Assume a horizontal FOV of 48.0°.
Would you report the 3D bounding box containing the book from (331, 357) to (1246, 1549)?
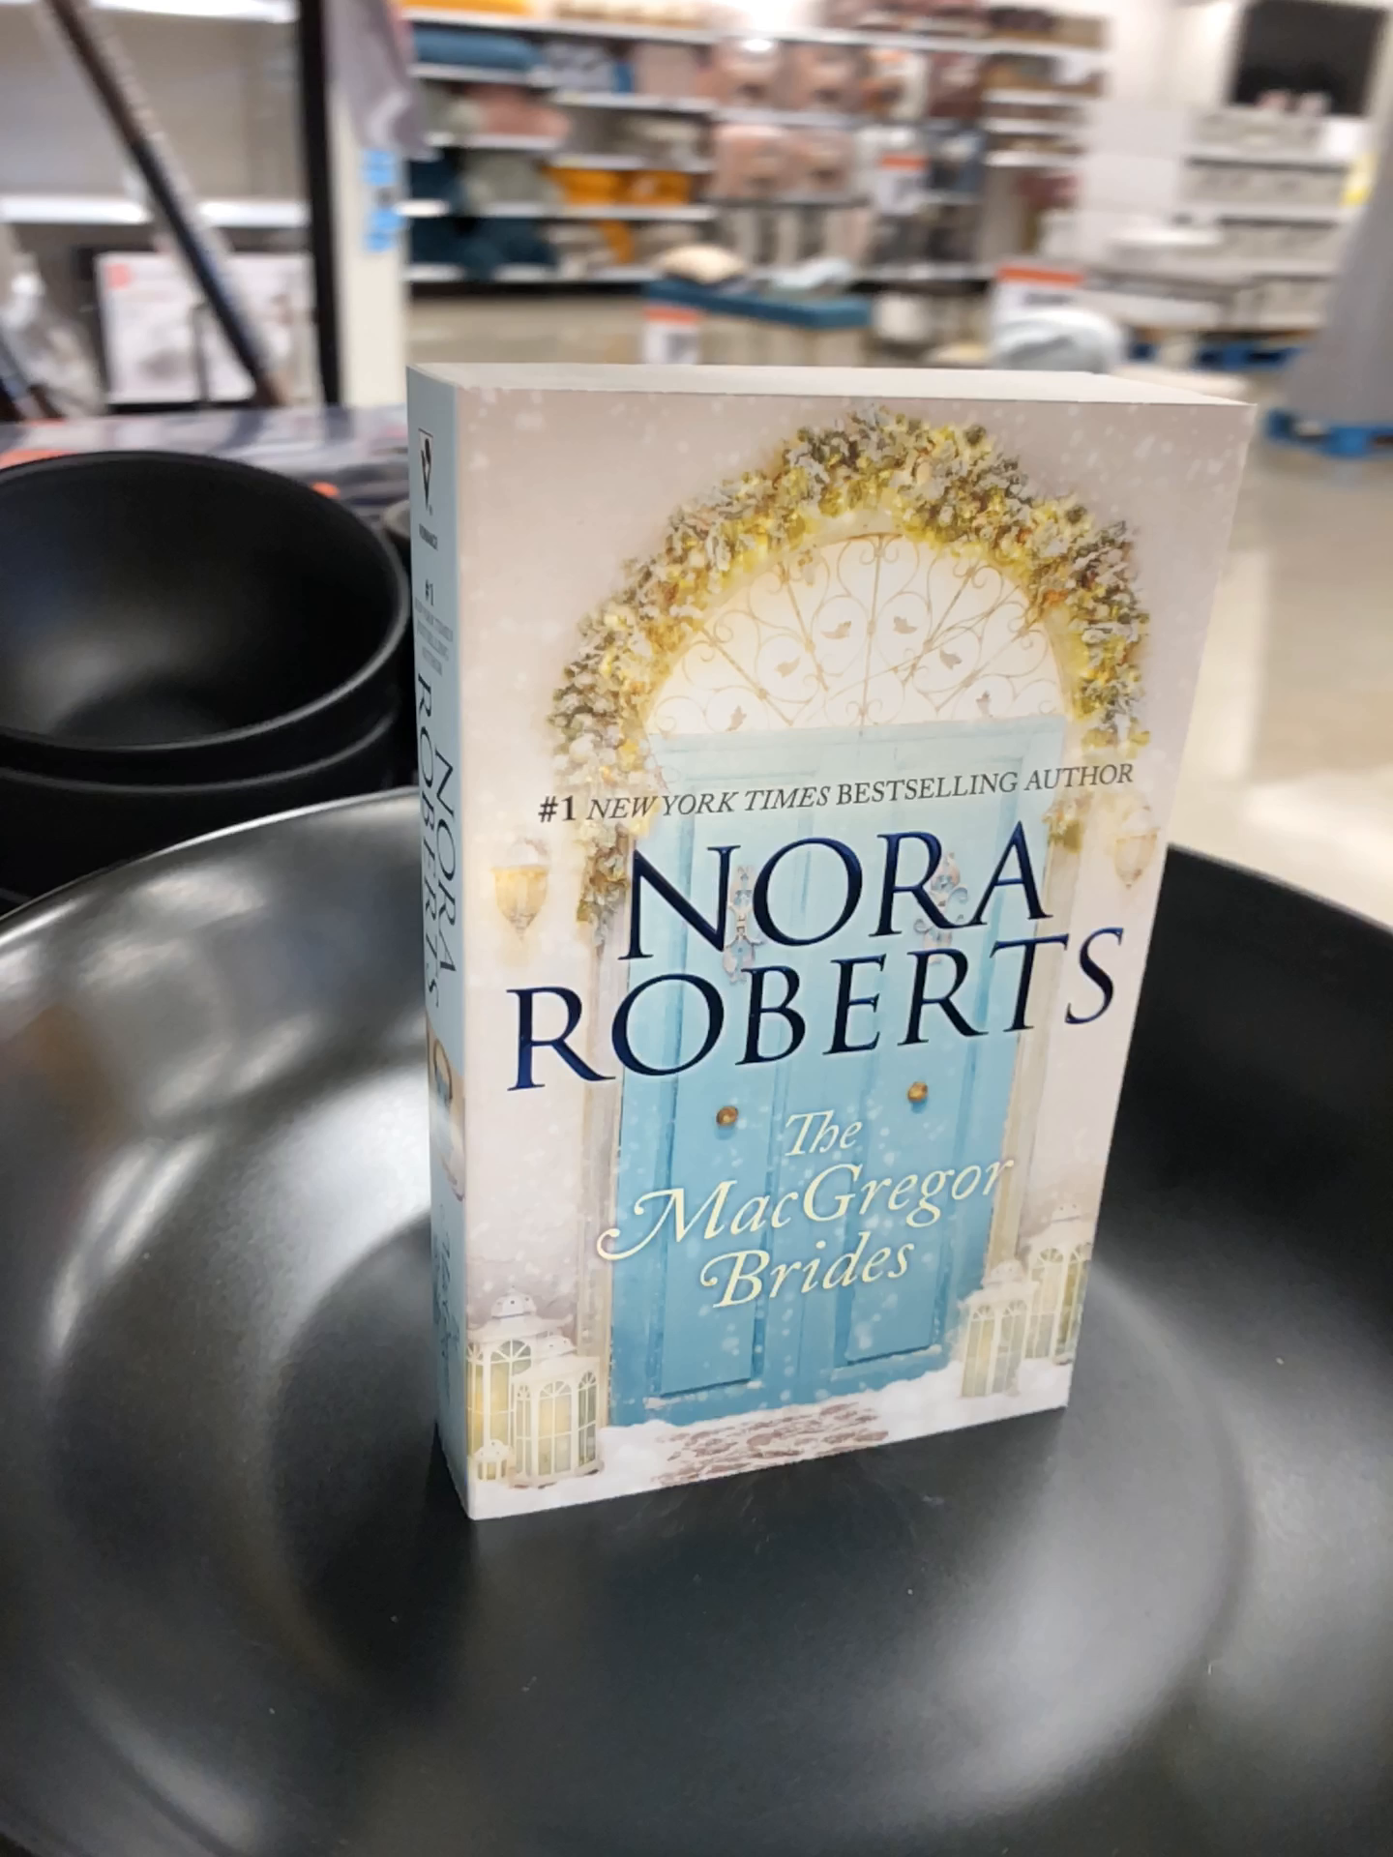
[{"bbox_3d":[0.008,0.005,0.236,0.111,0.168,0.040,-6,26,-17],"label":"book"}]
